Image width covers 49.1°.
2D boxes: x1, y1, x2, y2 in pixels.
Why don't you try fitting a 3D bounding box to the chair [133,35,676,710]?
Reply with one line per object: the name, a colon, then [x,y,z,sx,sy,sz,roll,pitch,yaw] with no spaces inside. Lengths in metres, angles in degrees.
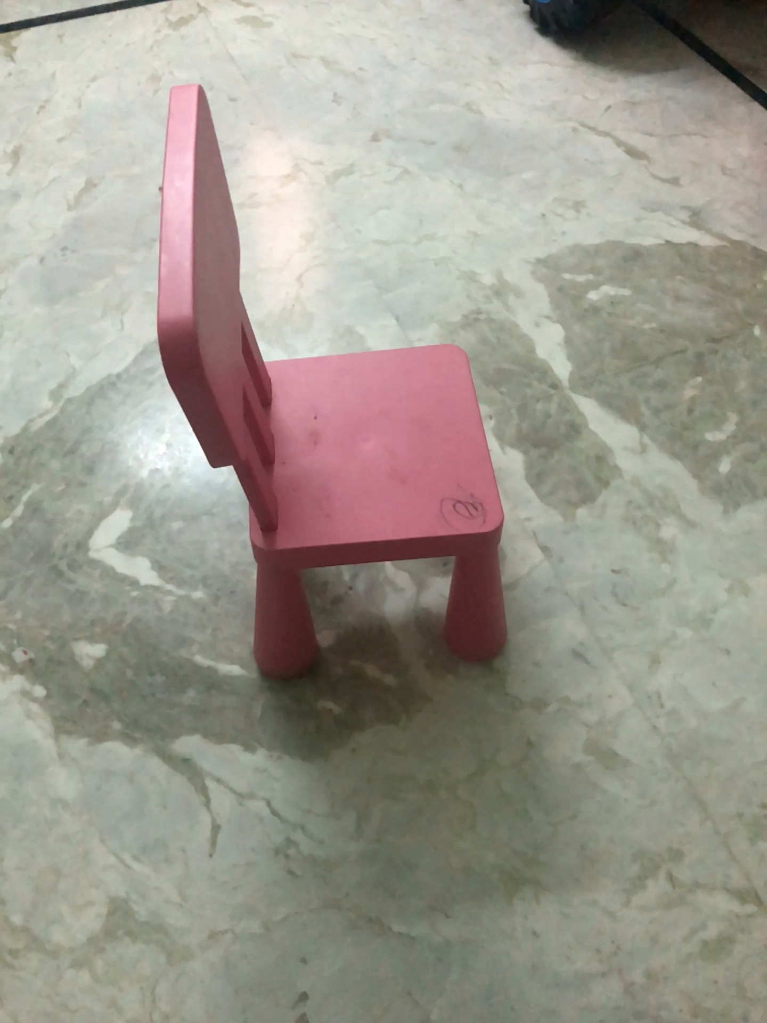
chair: [-0.008,-0.106,0.953,0.380,0.627,0.402,-6,55,-5]
